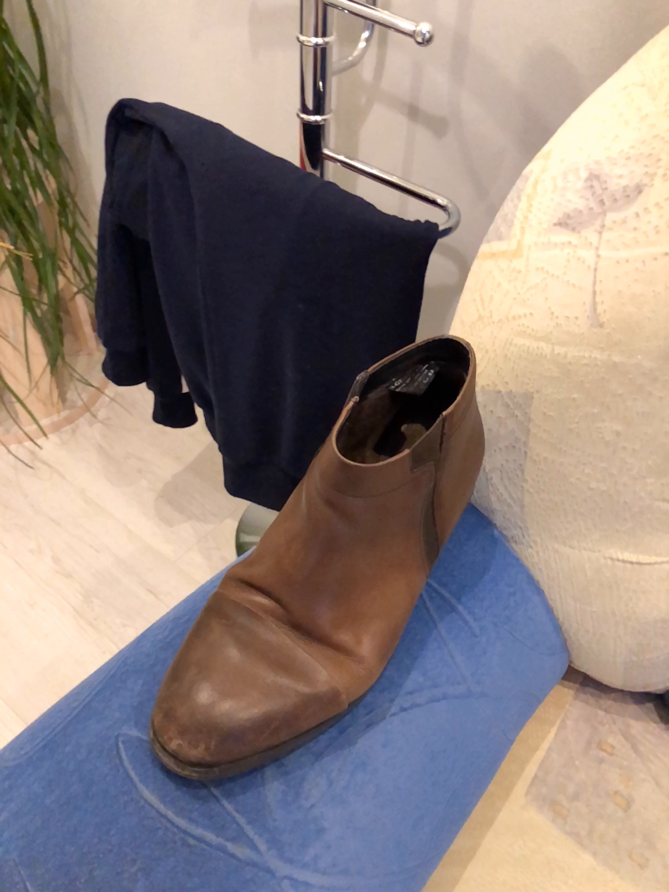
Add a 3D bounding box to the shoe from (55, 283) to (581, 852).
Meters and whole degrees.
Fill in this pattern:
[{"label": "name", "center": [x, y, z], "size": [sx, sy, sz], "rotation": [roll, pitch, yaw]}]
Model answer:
[{"label": "shoe", "center": [0.013, 0.048, 0.439], "size": [0.110, 0.139, 0.312], "rotation": [29, 51, 25]}]
